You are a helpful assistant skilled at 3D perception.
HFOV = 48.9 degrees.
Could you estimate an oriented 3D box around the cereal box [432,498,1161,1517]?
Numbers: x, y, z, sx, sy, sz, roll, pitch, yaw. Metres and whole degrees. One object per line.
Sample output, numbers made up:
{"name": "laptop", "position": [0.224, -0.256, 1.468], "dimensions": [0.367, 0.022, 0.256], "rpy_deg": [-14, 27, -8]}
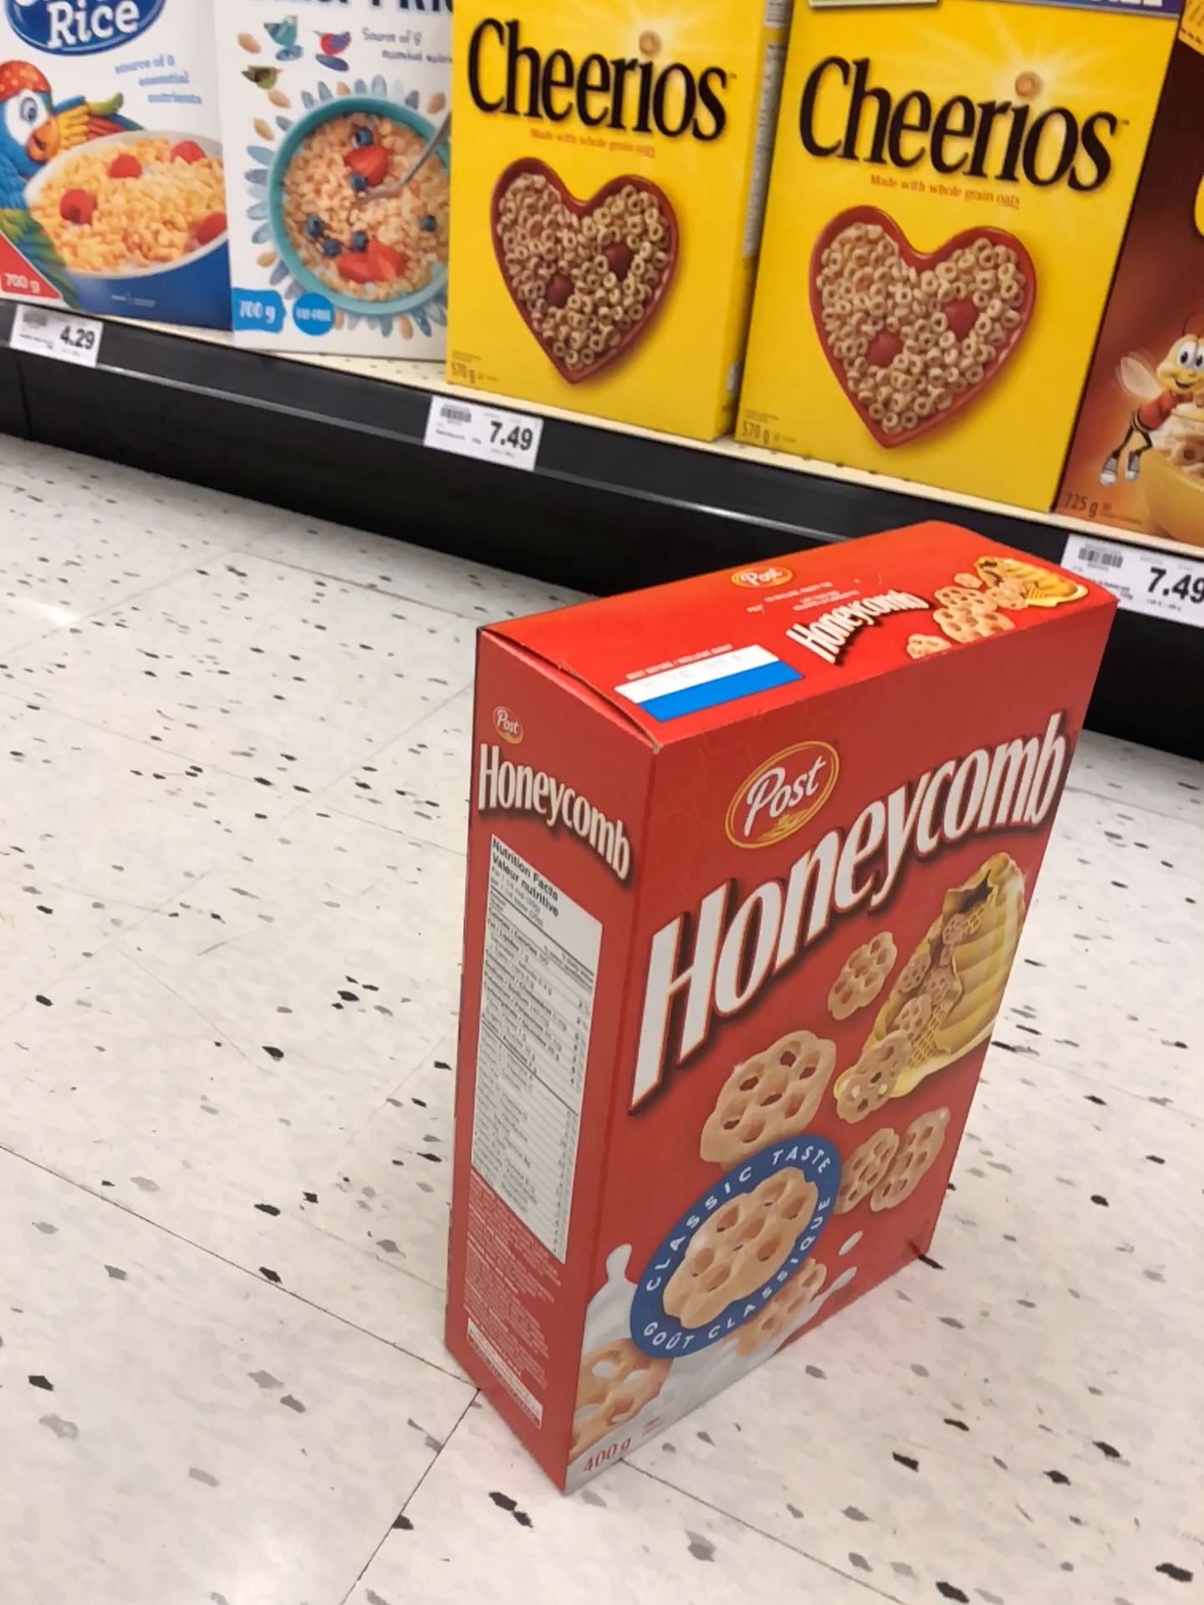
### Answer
{"name": "cereal box", "position": [0.053, 0.067, 0.448], "dimensions": [0.201, 0.298, 0.080], "rpy_deg": [-18, 38, -34]}
